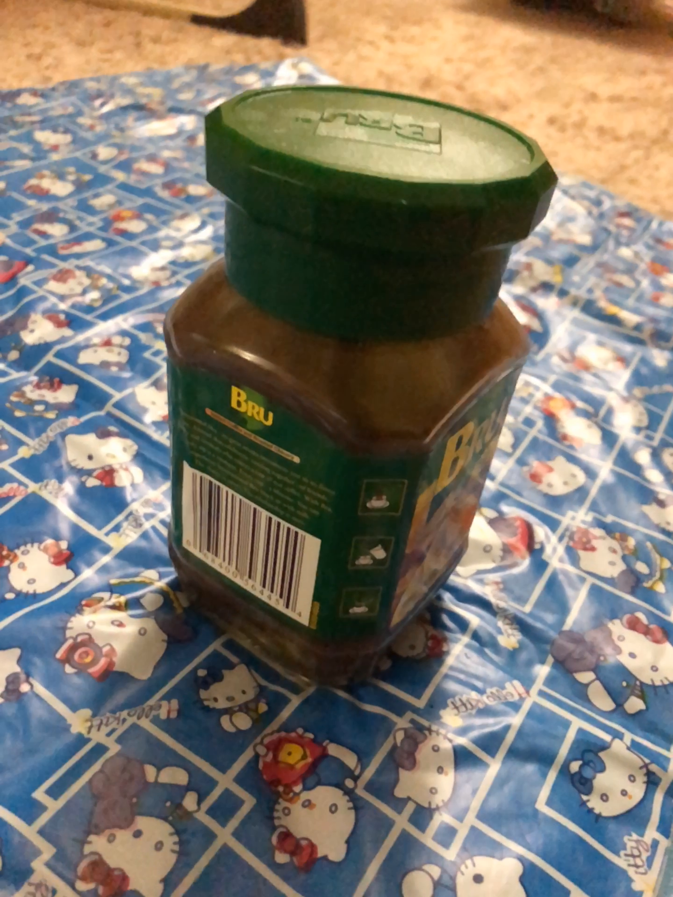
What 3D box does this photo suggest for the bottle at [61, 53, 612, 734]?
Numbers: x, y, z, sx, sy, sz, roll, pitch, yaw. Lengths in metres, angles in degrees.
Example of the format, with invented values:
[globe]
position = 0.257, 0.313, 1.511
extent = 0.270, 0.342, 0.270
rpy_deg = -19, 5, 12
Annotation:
[bottle]
position = -0.003, -0.015, 0.177
extent = 0.070, 0.120, 0.080
rpy_deg = 29, 41, 23
